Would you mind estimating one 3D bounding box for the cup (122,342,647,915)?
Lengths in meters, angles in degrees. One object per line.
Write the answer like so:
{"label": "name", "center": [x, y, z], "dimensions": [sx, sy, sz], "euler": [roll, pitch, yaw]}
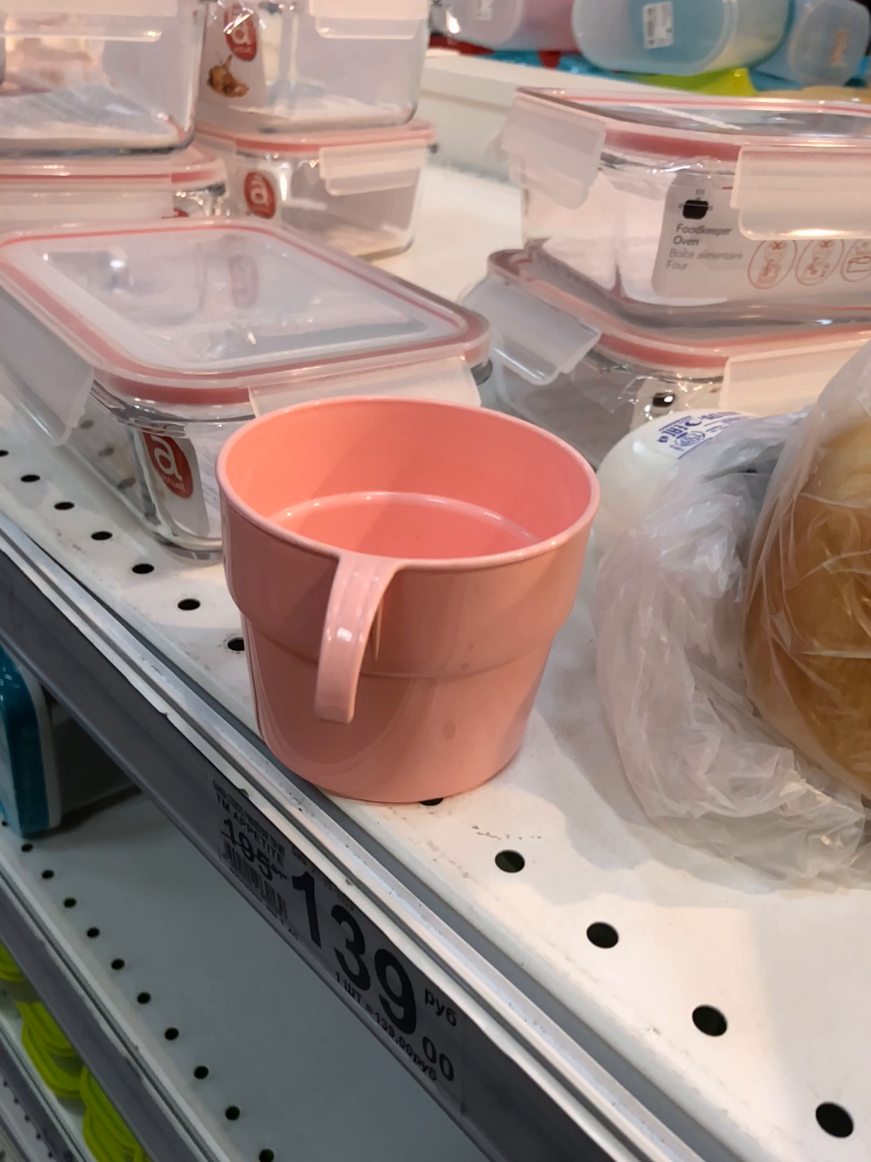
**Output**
{"label": "cup", "center": [-0.011, 0.003, 0.215], "dimensions": [0.081, 0.070, 0.111], "euler": [4, 32, -3]}
